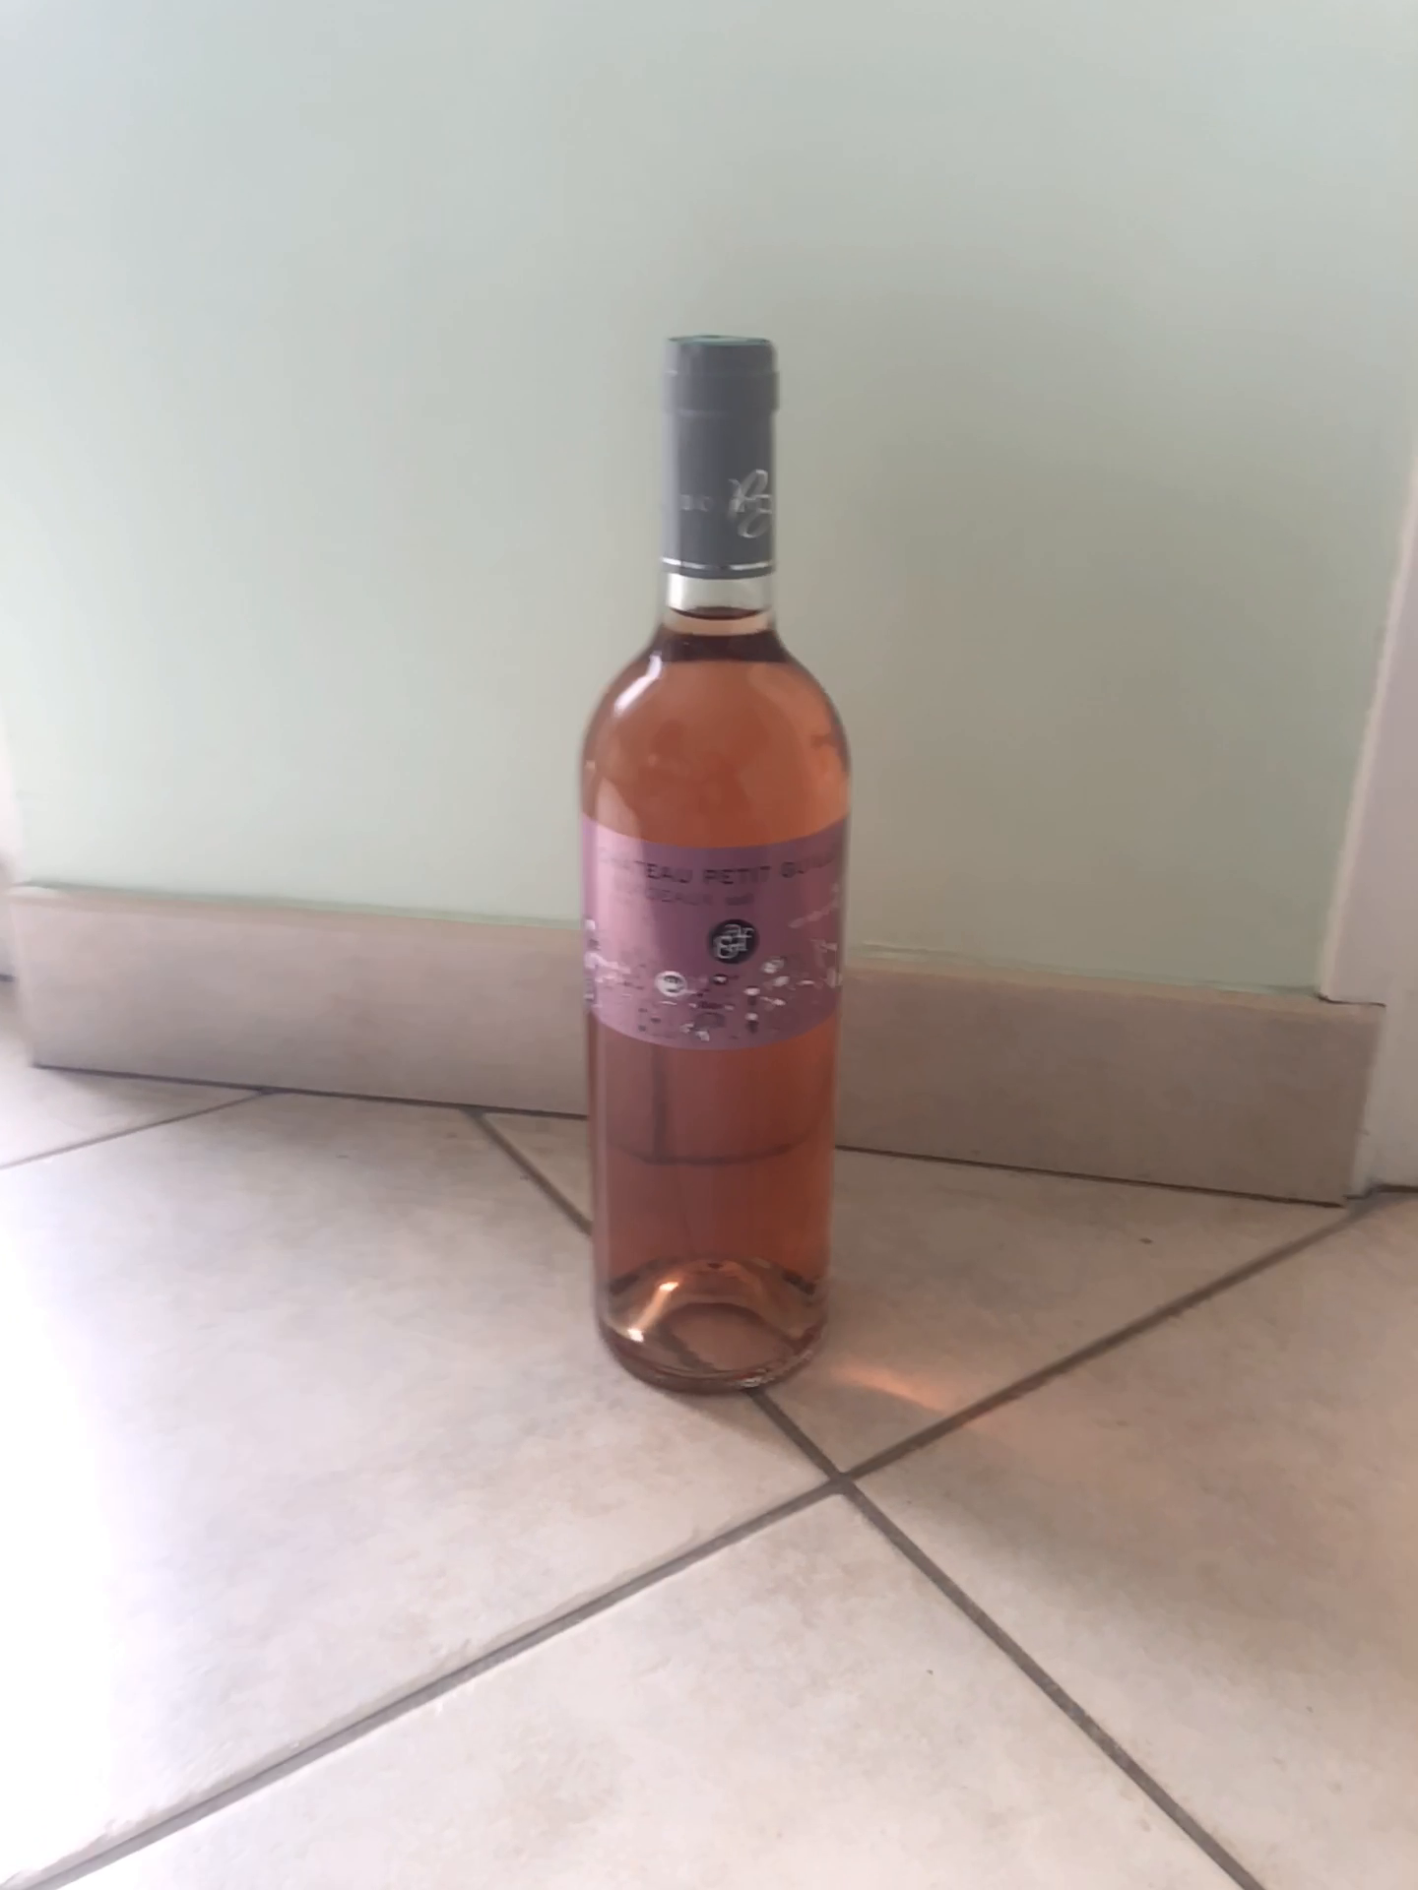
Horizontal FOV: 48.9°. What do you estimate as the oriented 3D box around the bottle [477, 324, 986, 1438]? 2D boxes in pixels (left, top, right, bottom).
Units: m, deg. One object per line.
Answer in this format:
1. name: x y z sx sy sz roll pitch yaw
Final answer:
1. bottle: 0.002 -0.017 0.441 0.090 0.288 0.090 1 24 0
